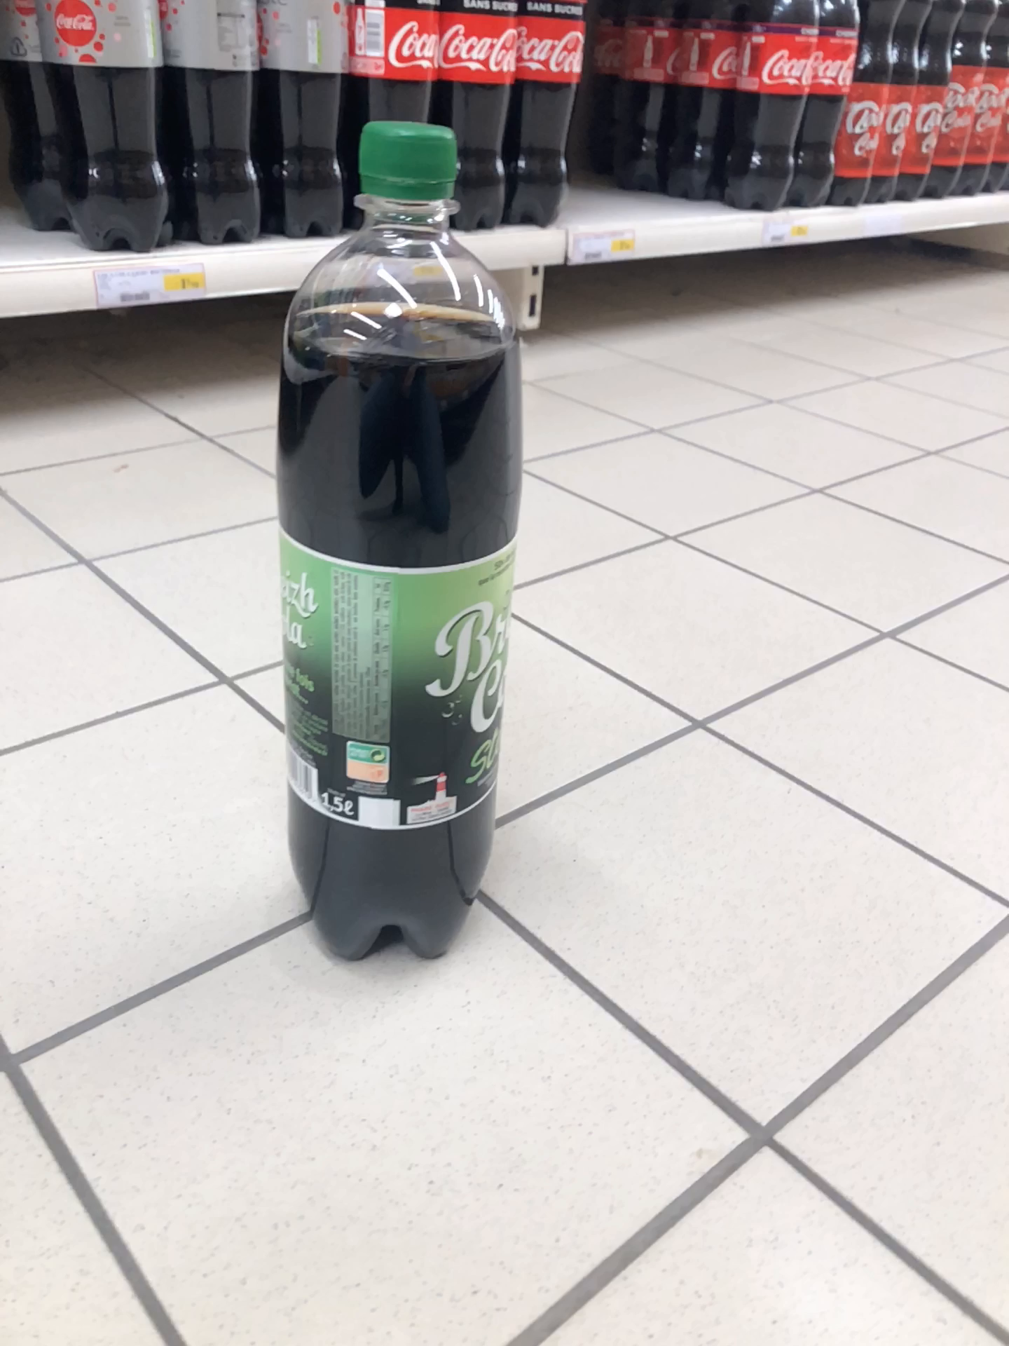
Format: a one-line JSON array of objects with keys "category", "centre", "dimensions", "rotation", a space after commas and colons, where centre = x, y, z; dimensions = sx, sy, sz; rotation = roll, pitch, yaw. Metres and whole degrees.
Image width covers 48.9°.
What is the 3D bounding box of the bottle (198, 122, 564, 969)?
[{"category": "bottle", "centre": [-0.042, -0.039, 0.426], "dimensions": [0.100, 0.298, 0.101], "rotation": [3, 29, -2]}]
